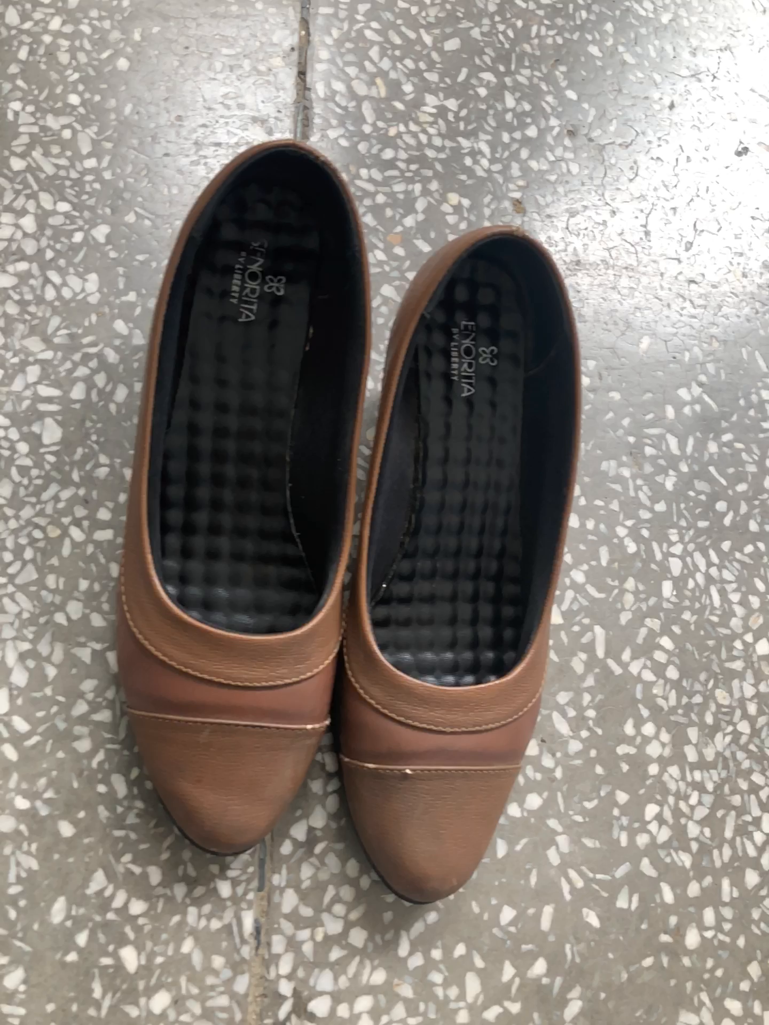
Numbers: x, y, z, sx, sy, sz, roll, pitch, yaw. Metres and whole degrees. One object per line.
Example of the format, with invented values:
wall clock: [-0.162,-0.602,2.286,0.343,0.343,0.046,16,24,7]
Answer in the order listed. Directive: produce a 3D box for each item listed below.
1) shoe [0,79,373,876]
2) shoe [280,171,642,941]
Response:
shoe: [-0.063,-0.009,0.302,0.090,0.096,0.244,6,73,-13]
shoe: [0.019,0.014,0.315,0.092,0.096,0.241,4,73,-14]
